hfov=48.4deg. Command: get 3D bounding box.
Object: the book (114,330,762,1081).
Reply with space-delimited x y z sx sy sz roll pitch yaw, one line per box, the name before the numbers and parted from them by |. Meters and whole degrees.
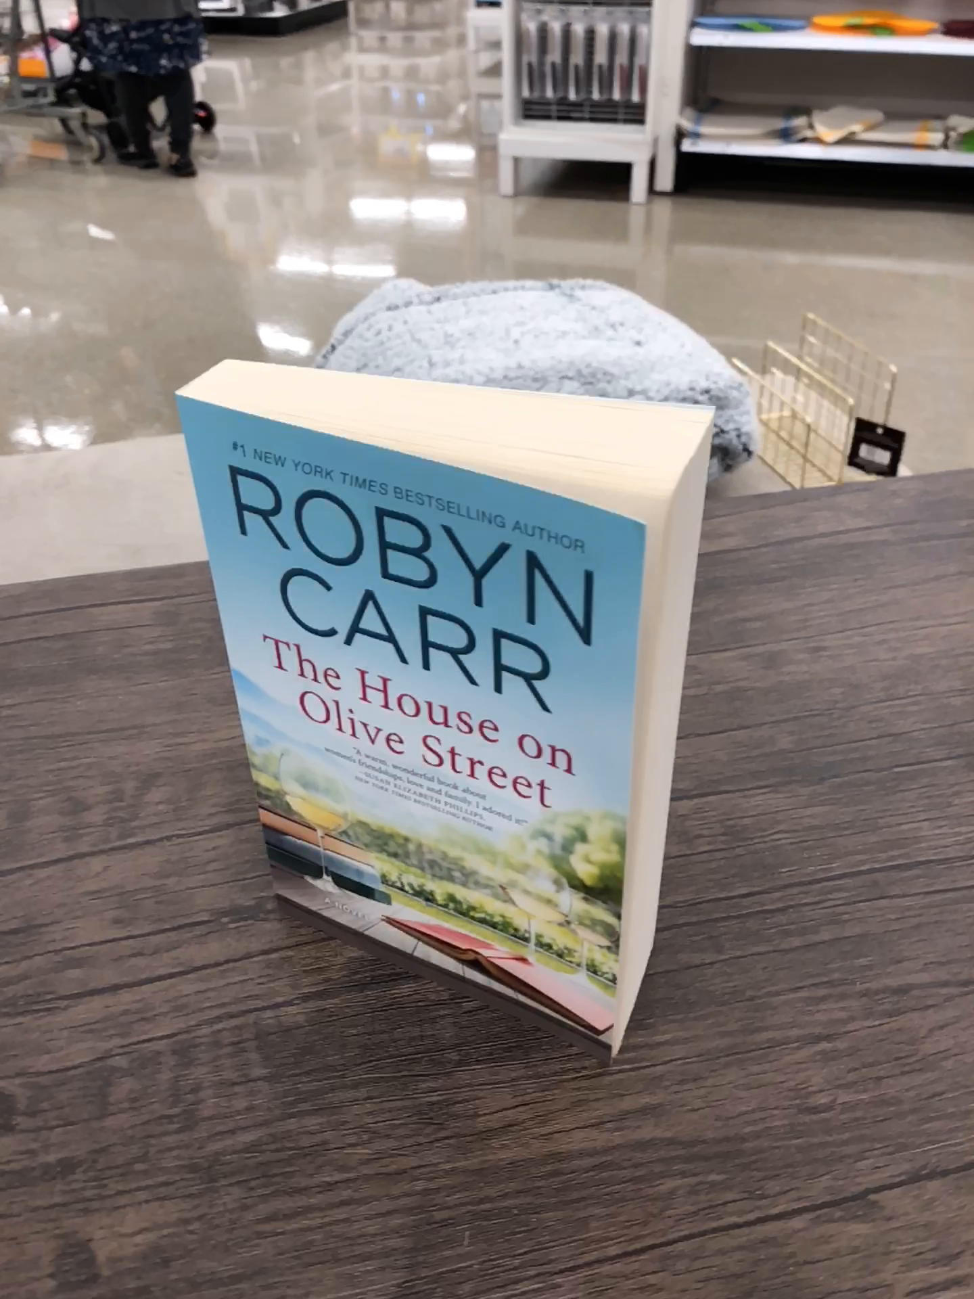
book | -0.012 0.021 0.314 0.146 0.195 0.050 15 40 21
